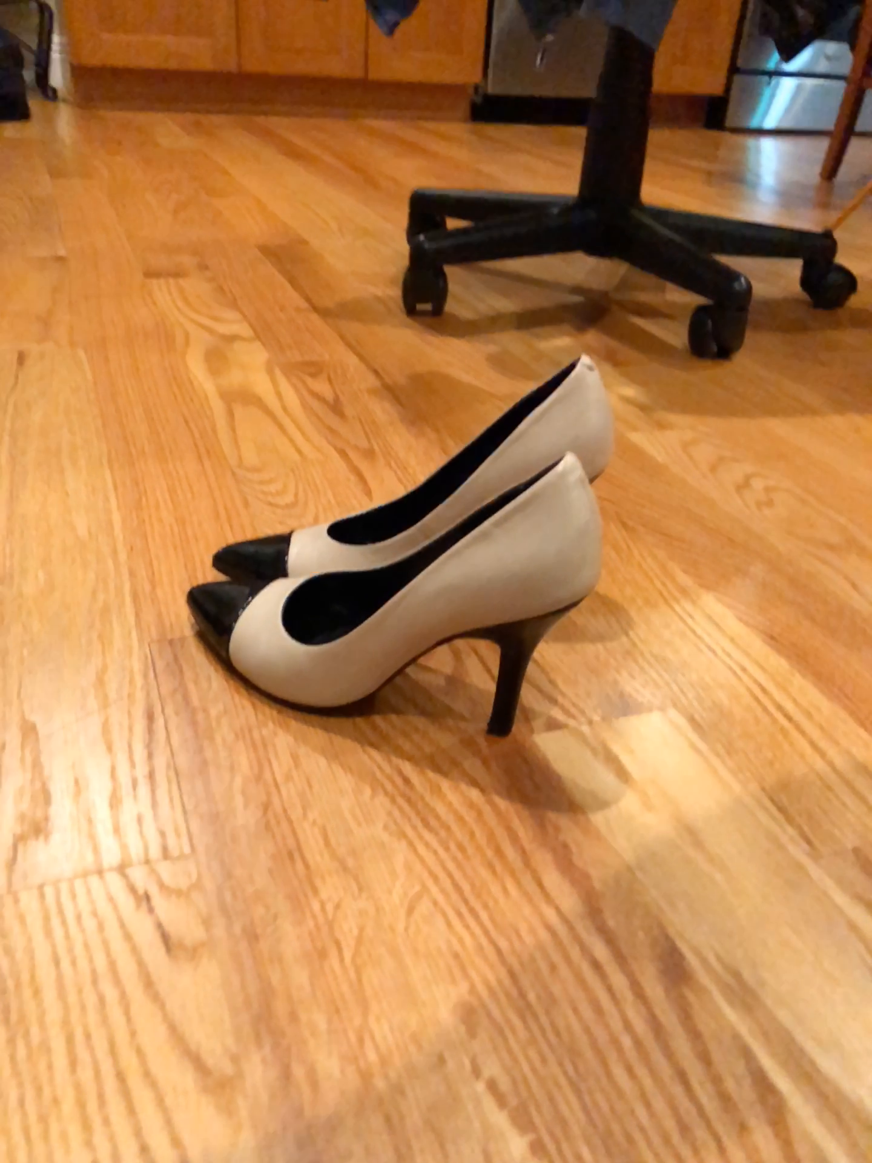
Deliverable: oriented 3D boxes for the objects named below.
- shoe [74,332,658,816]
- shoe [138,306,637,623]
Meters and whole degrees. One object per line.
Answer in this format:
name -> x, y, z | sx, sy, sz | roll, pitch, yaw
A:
shoe -> -0.037, -0.015, 0.435 | 0.235, 0.138, 0.085 | 17, 32, 22
shoe -> -0.027, -0.063, 0.521 | 0.235, 0.138, 0.085 | 2, 29, -3
